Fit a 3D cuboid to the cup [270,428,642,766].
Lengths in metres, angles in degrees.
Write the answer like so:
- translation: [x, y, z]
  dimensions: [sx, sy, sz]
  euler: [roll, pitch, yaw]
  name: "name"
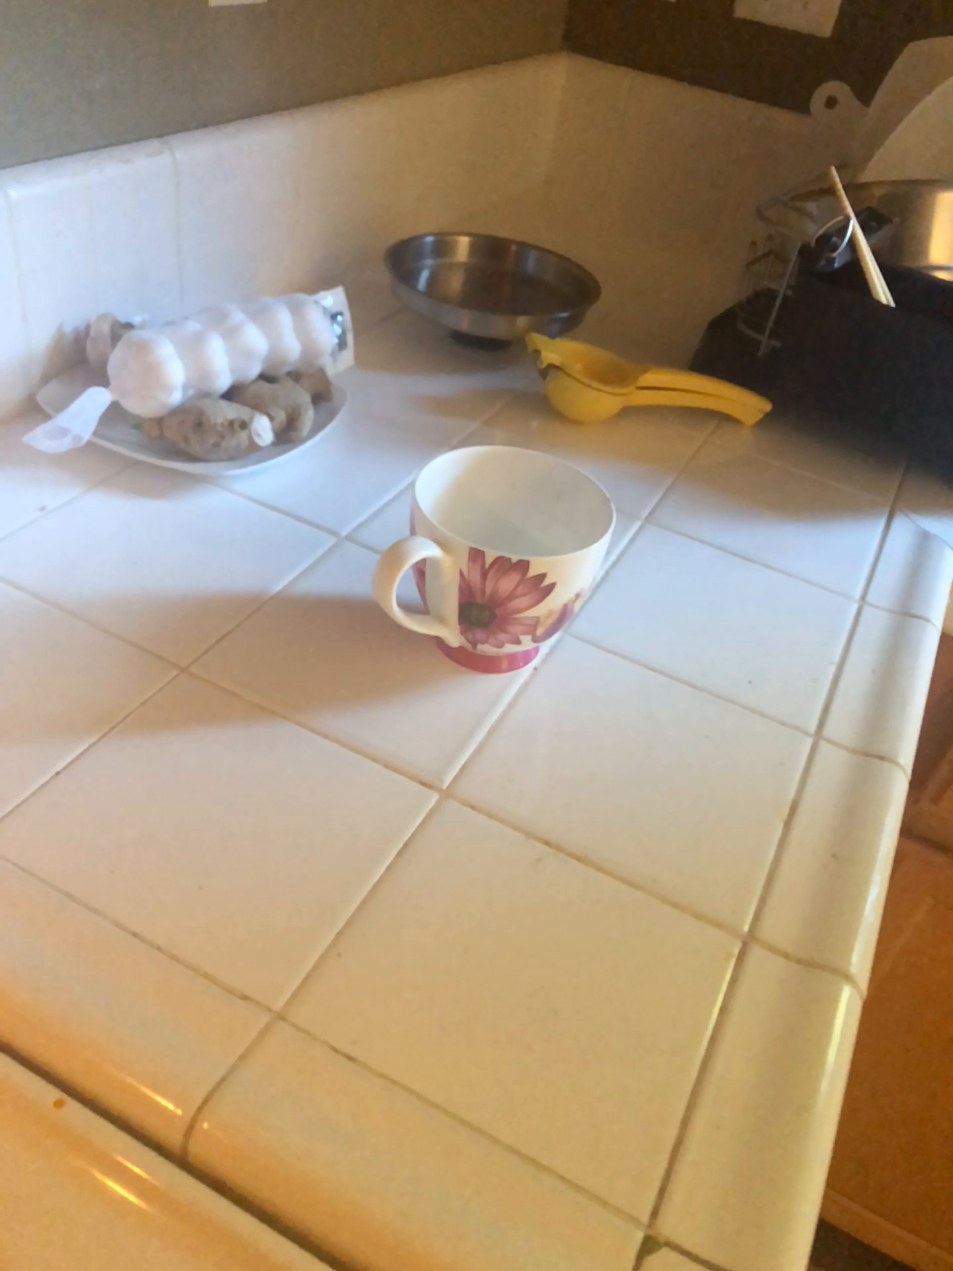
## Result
- translation: [-0.010, -0.029, 0.566]
  dimensions: [0.100, 0.089, 0.171]
  euler: [35, 43, 27]
  name: "cup"
